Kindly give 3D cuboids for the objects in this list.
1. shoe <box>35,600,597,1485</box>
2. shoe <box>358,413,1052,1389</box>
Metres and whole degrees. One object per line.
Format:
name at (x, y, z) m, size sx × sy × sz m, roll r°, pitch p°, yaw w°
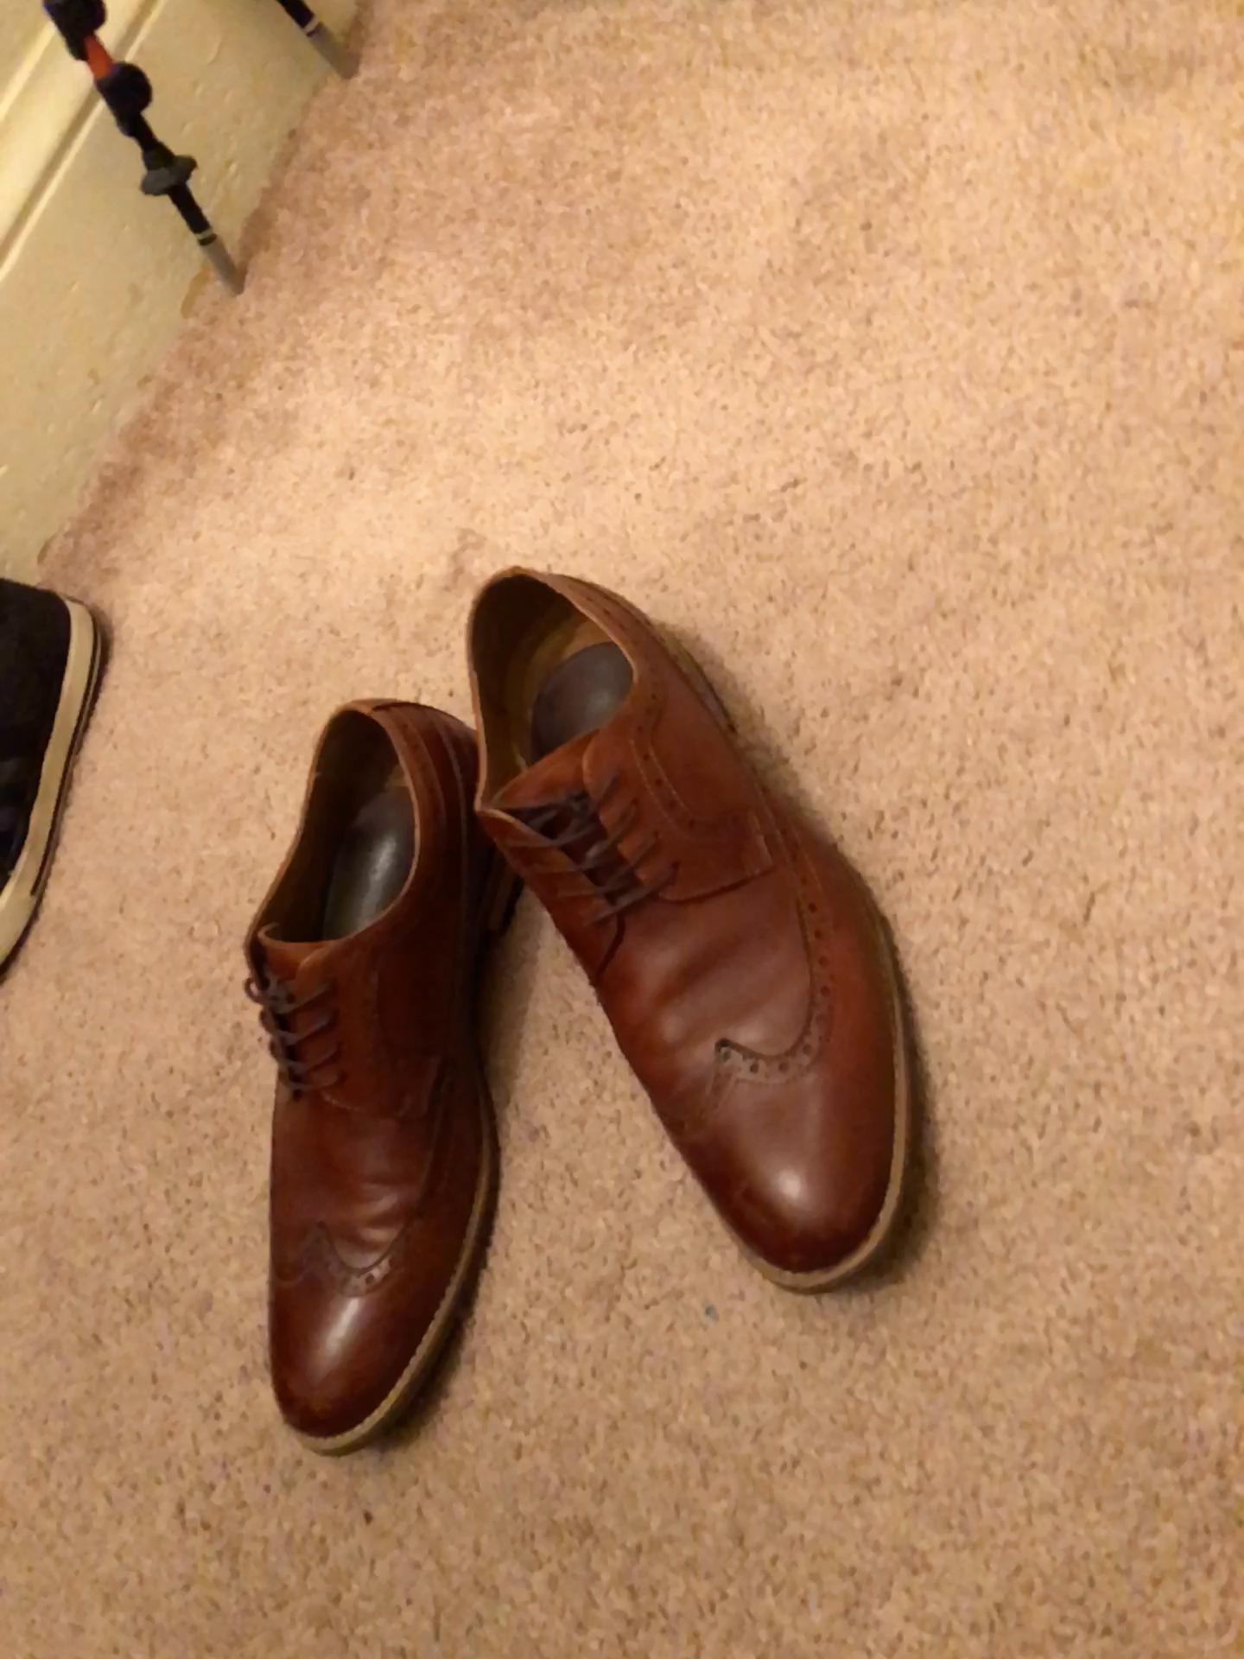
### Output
shoe at (-0.111, 0.080, 0.549) m, size 0.115 × 0.115 × 0.311 m, roll -3°, pitch 69°, yaw 33°
shoe at (0.015, 0.019, 0.482) m, size 0.115 × 0.115 × 0.311 m, roll -32°, pitch 56°, yaw 20°
